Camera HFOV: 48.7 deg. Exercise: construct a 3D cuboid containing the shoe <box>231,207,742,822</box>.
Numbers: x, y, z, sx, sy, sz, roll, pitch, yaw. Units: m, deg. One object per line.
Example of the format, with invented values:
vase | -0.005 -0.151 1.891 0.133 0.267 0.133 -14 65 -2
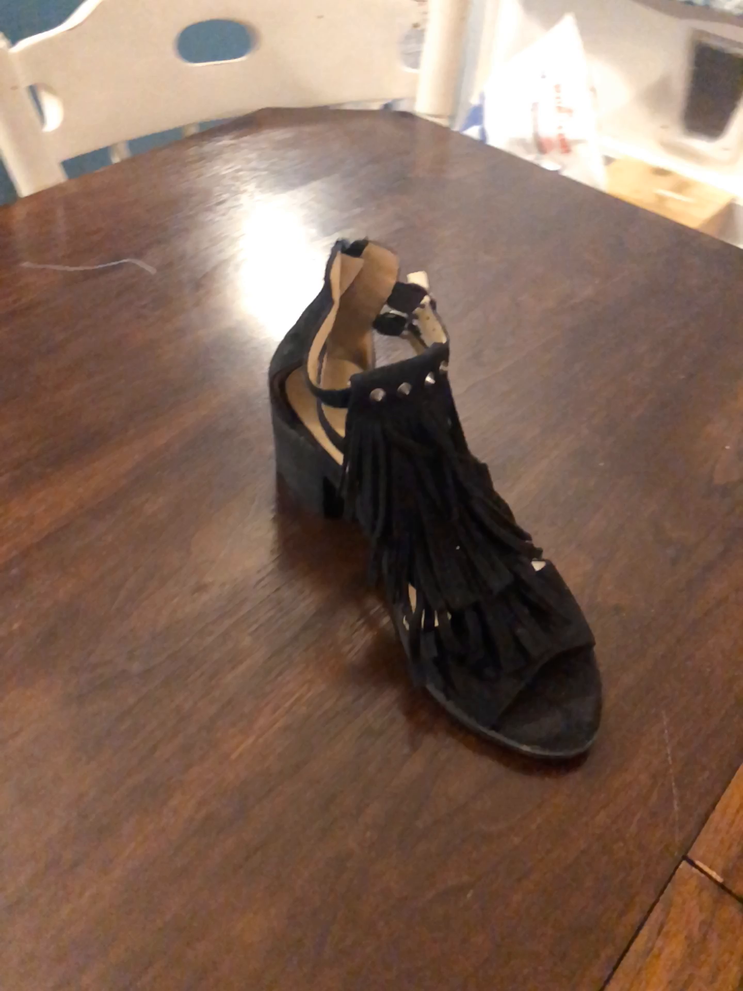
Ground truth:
shoe | 0.038 -0.003 0.391 0.100 0.150 0.240 -24 53 -24
